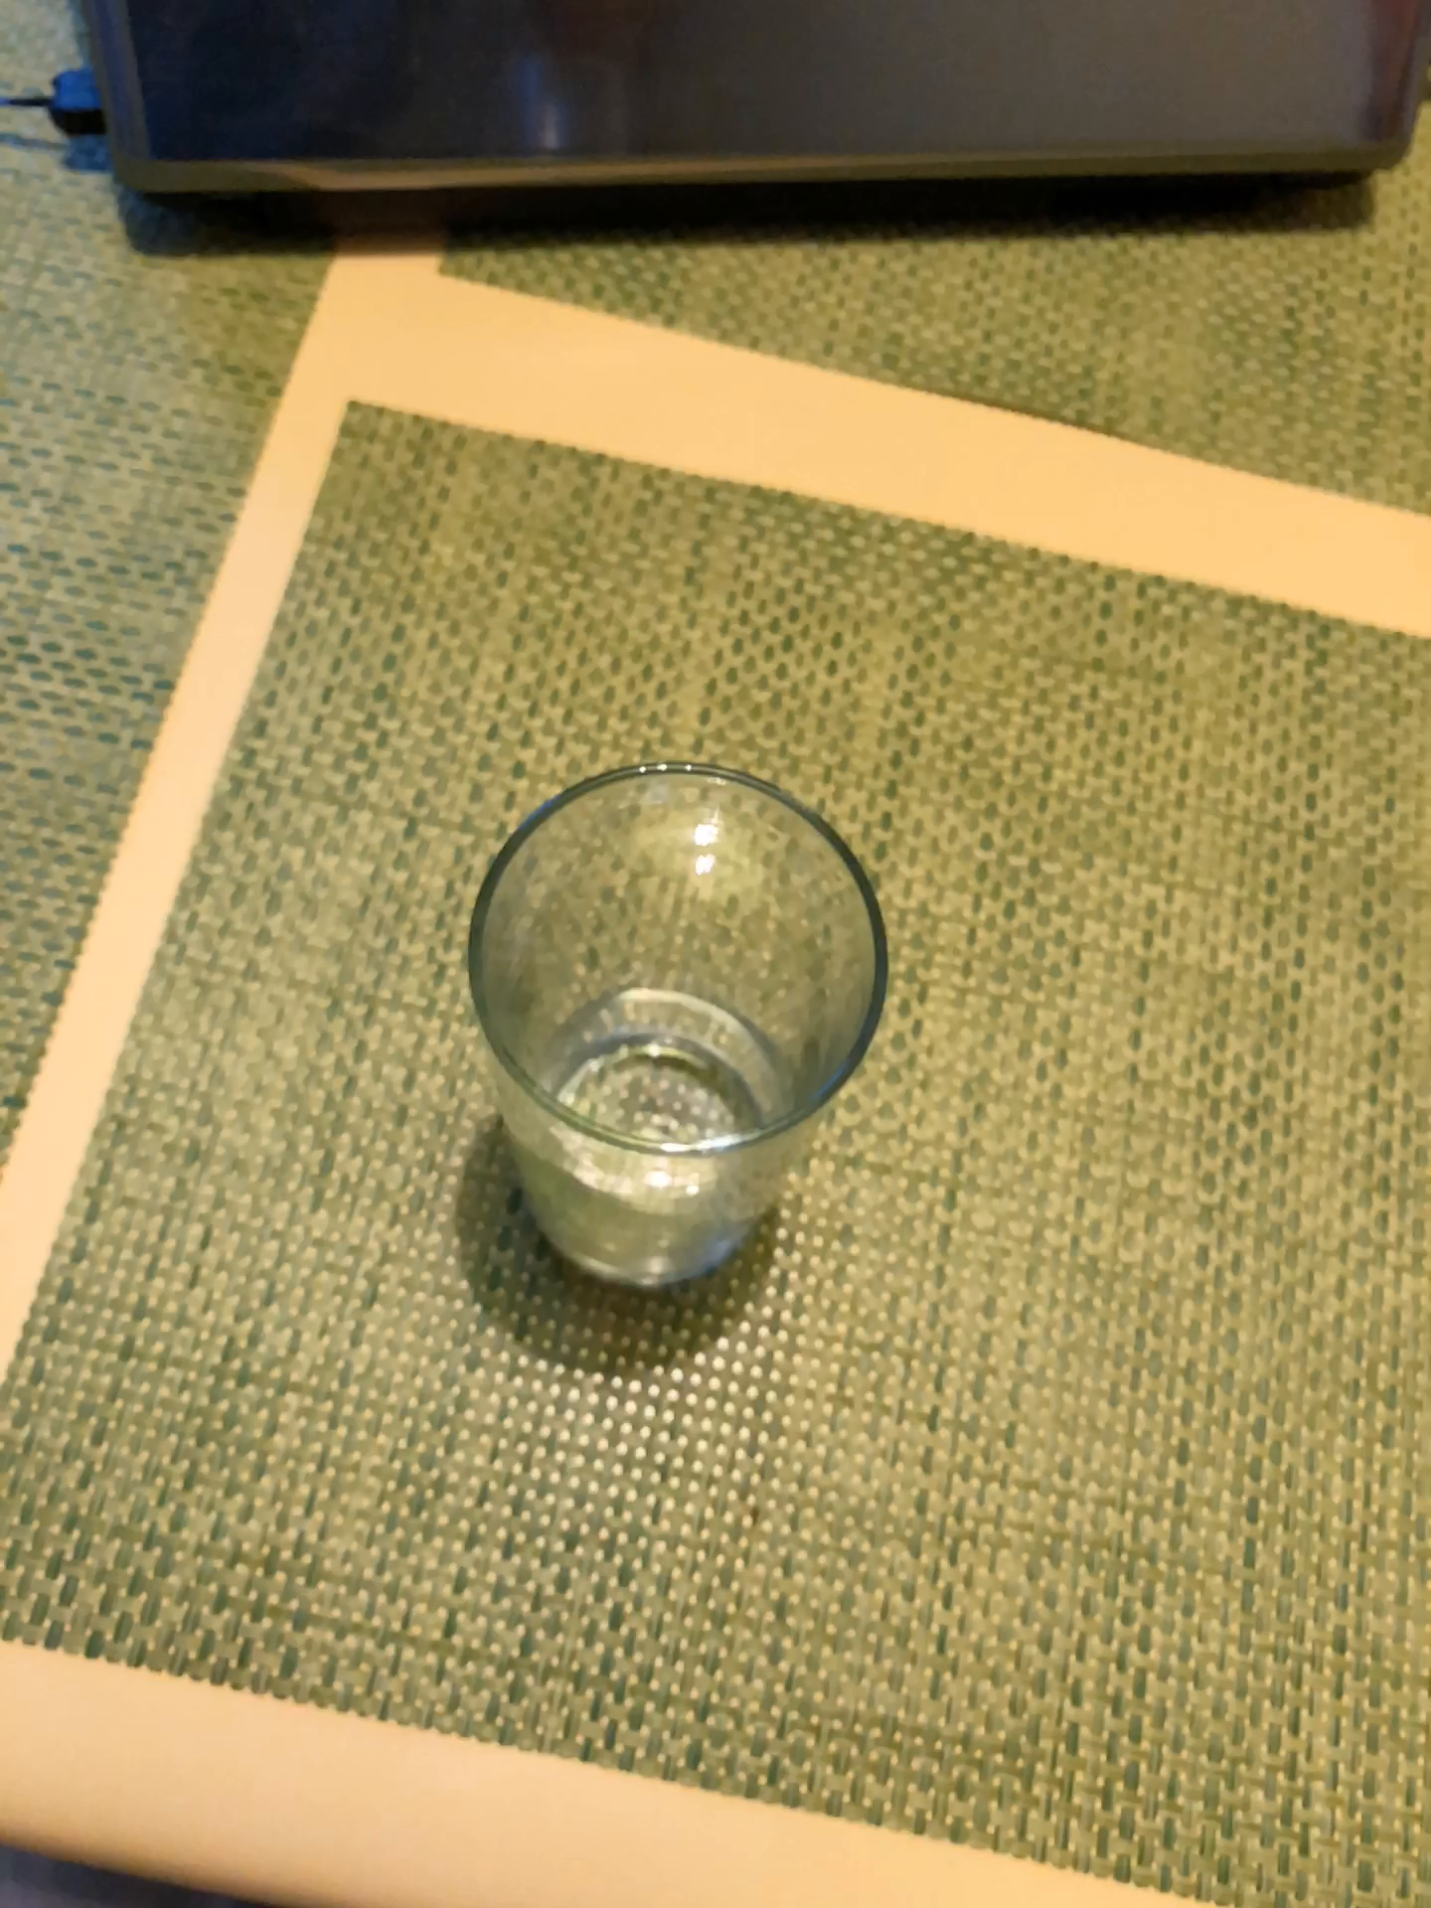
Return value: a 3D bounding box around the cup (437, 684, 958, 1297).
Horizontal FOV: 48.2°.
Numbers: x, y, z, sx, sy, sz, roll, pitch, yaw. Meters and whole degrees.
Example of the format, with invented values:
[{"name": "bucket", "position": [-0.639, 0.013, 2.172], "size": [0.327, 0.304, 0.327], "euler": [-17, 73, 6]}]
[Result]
[{"name": "cup", "position": [-0.006, 0.017, 0.292], "size": [0.070, 0.140, 0.070], "euler": [1, 71, -3]}]
